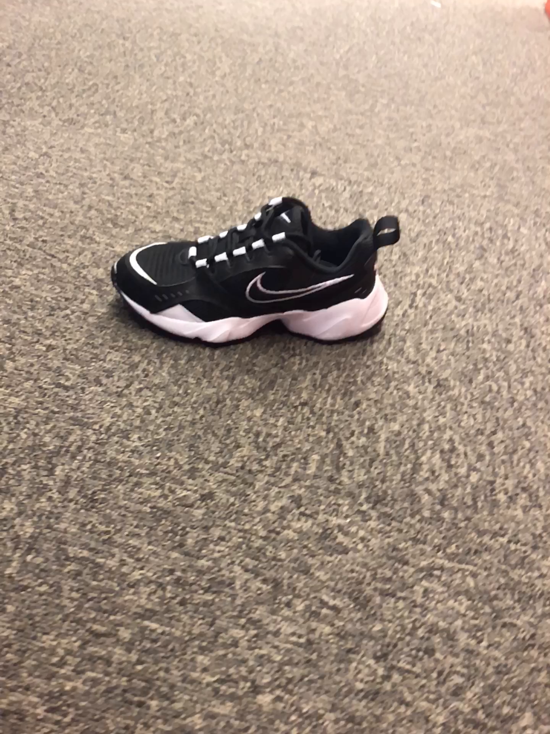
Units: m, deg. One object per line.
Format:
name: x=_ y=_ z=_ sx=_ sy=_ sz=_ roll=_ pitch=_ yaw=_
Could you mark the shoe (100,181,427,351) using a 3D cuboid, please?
shoe: x=-0.011 y=-0.092 z=0.555 sx=0.260 sy=0.109 sz=0.105 roll=0 pitch=44 yaw=-4
